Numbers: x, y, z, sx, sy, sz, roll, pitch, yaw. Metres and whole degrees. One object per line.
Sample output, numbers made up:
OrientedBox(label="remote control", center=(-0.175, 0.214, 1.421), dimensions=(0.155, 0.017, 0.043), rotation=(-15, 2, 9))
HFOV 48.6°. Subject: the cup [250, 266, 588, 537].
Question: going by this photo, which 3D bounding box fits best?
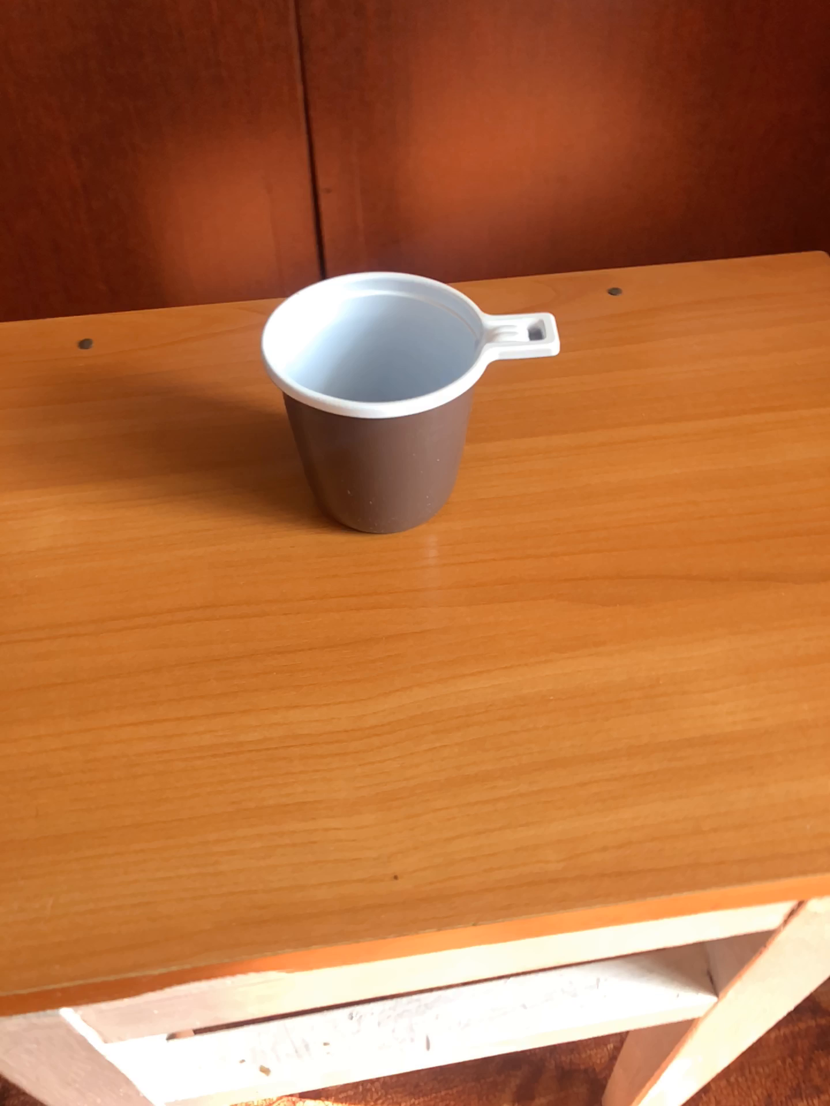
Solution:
OrientedBox(label="cup", center=(0.001, -0.053, 0.318), dimensions=(0.100, 0.060, 0.070), rotation=(-1, 47, 0))
